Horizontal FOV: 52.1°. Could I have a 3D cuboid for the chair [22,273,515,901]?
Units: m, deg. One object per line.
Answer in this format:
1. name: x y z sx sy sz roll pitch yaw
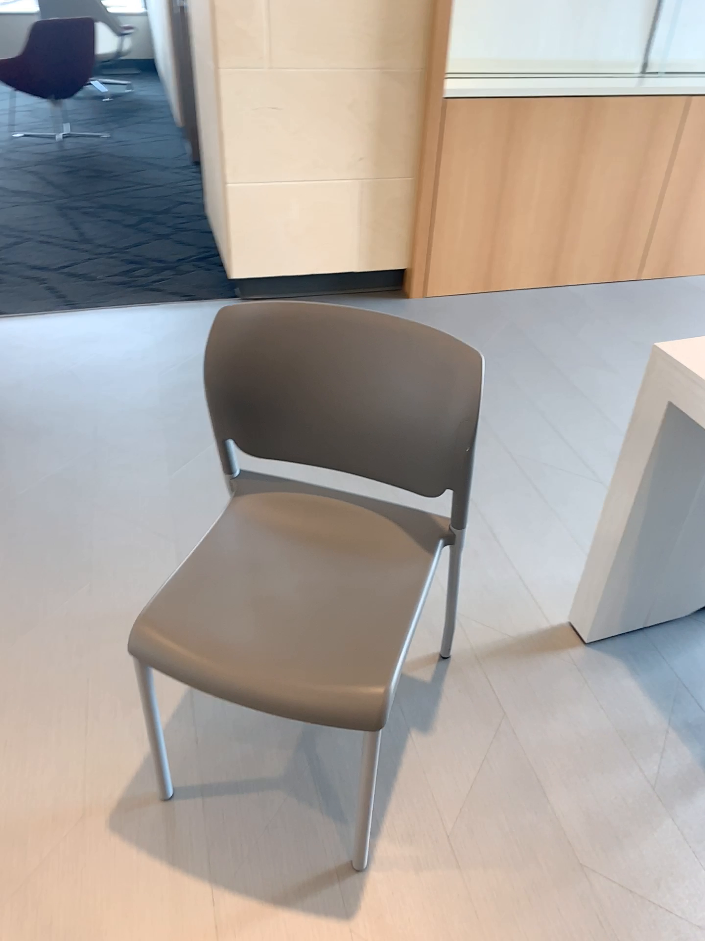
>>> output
1. chair: -0.073 0.178 1.229 0.500 0.783 0.575 12 37 12
